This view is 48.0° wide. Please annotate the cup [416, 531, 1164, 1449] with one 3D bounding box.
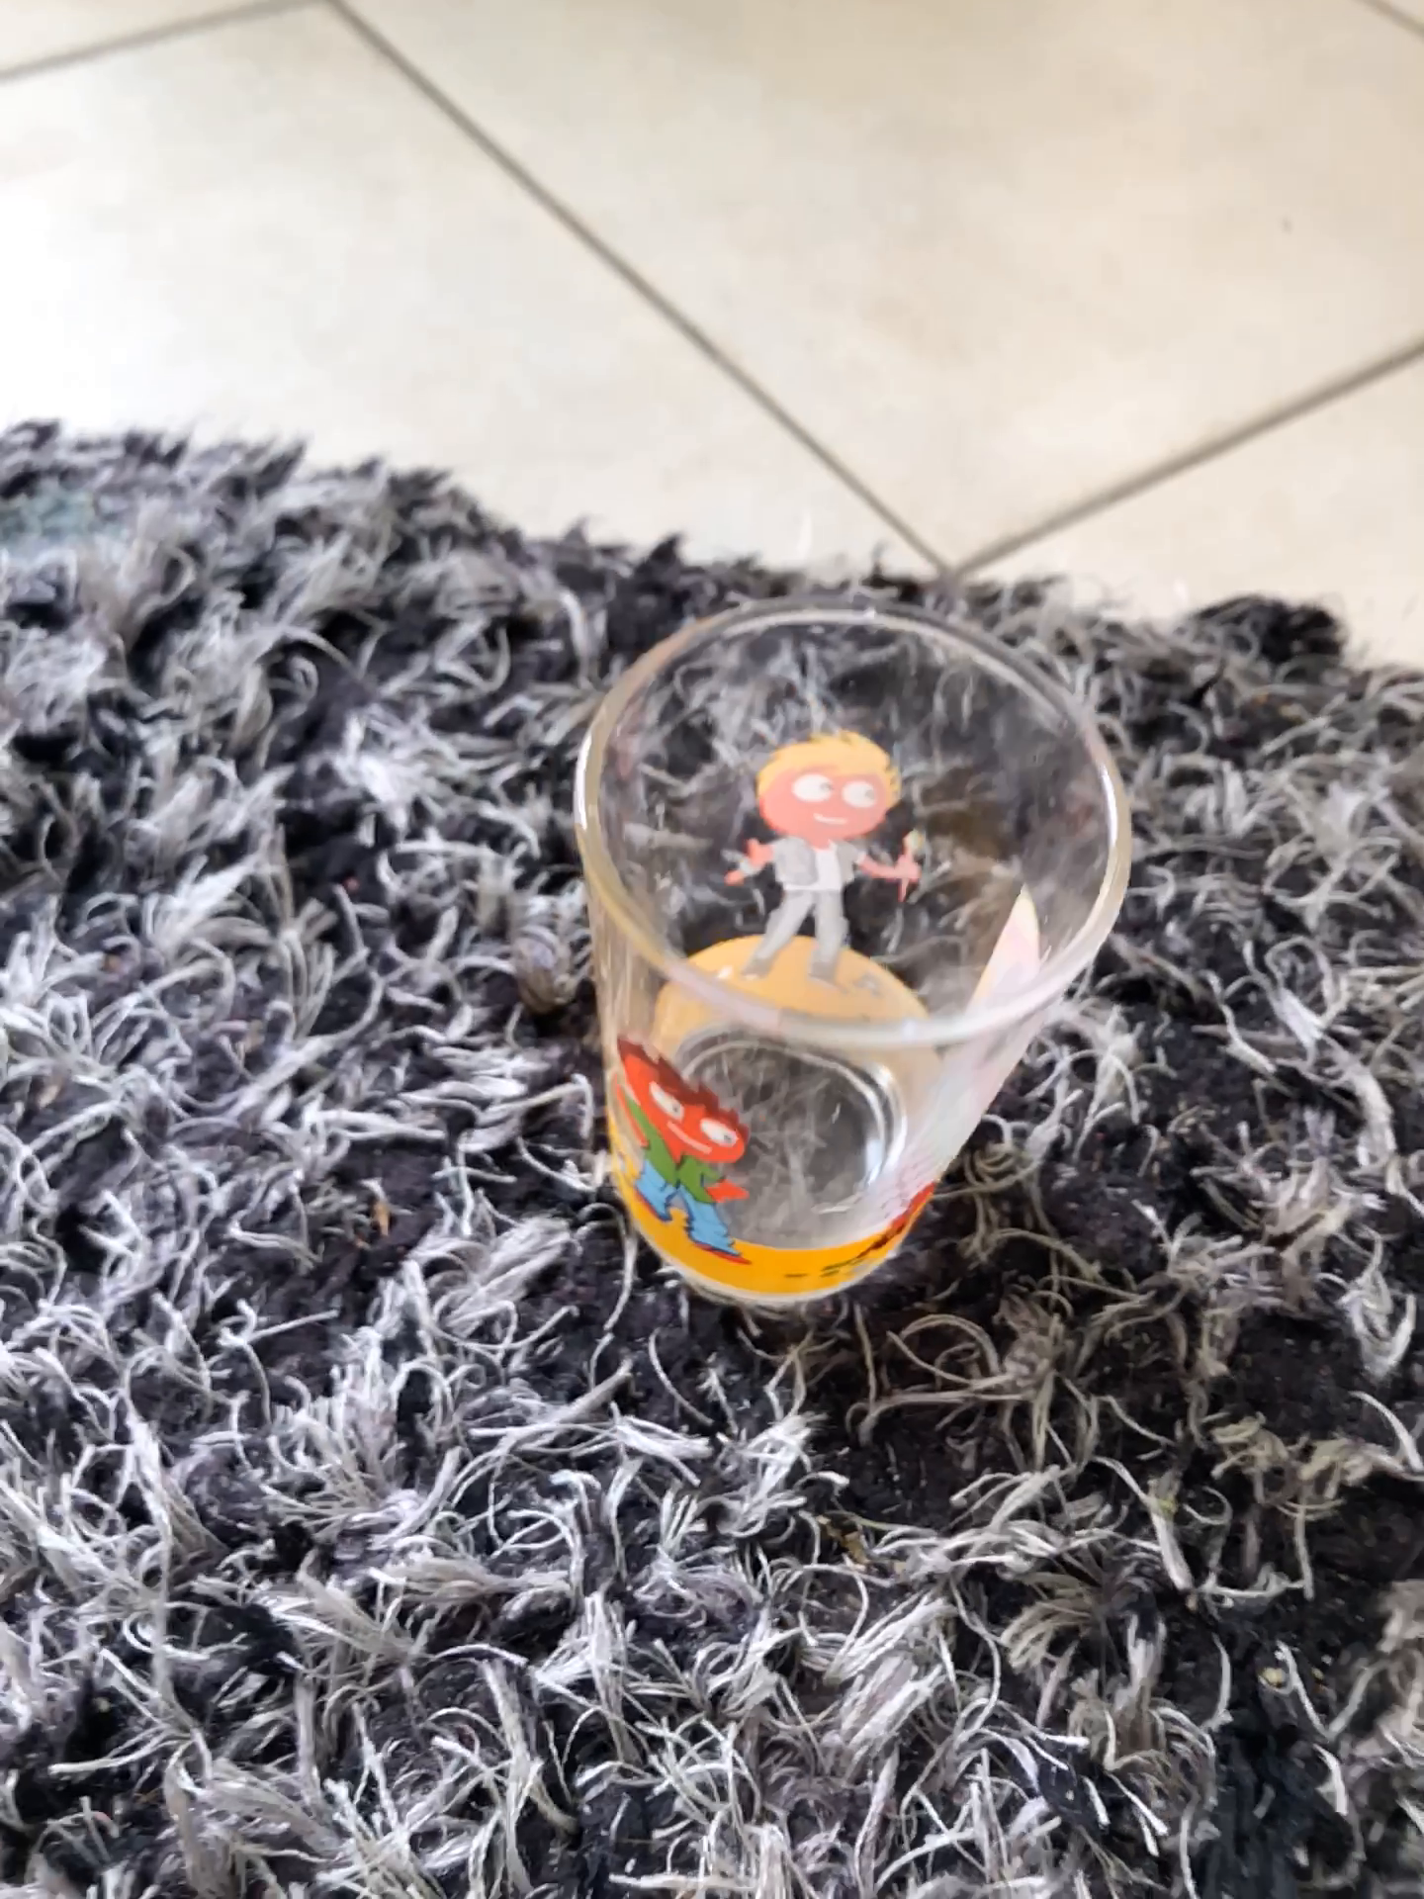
[{"bbox_3d":[0.010,0.011,0.224,0.070,0.099,0.070,2,56,-3],"label":"cup"}]
